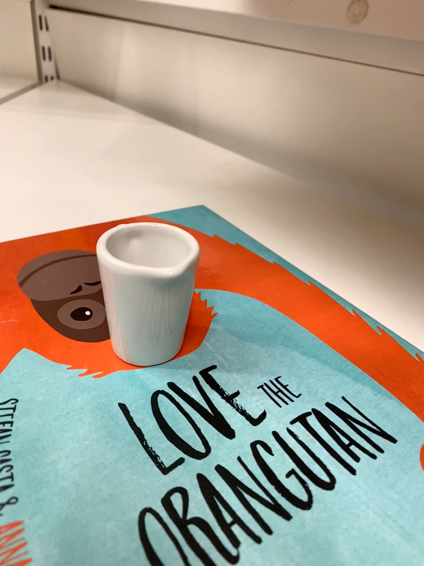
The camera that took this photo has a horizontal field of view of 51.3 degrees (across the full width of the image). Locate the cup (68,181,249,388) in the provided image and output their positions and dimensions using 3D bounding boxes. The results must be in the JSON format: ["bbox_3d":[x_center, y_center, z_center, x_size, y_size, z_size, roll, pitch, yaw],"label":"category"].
[{"bbox_3d":[-0.026,-0.005,0.185,0.050,0.050,0.070,-10,36,-23],"label":"cup"}]
